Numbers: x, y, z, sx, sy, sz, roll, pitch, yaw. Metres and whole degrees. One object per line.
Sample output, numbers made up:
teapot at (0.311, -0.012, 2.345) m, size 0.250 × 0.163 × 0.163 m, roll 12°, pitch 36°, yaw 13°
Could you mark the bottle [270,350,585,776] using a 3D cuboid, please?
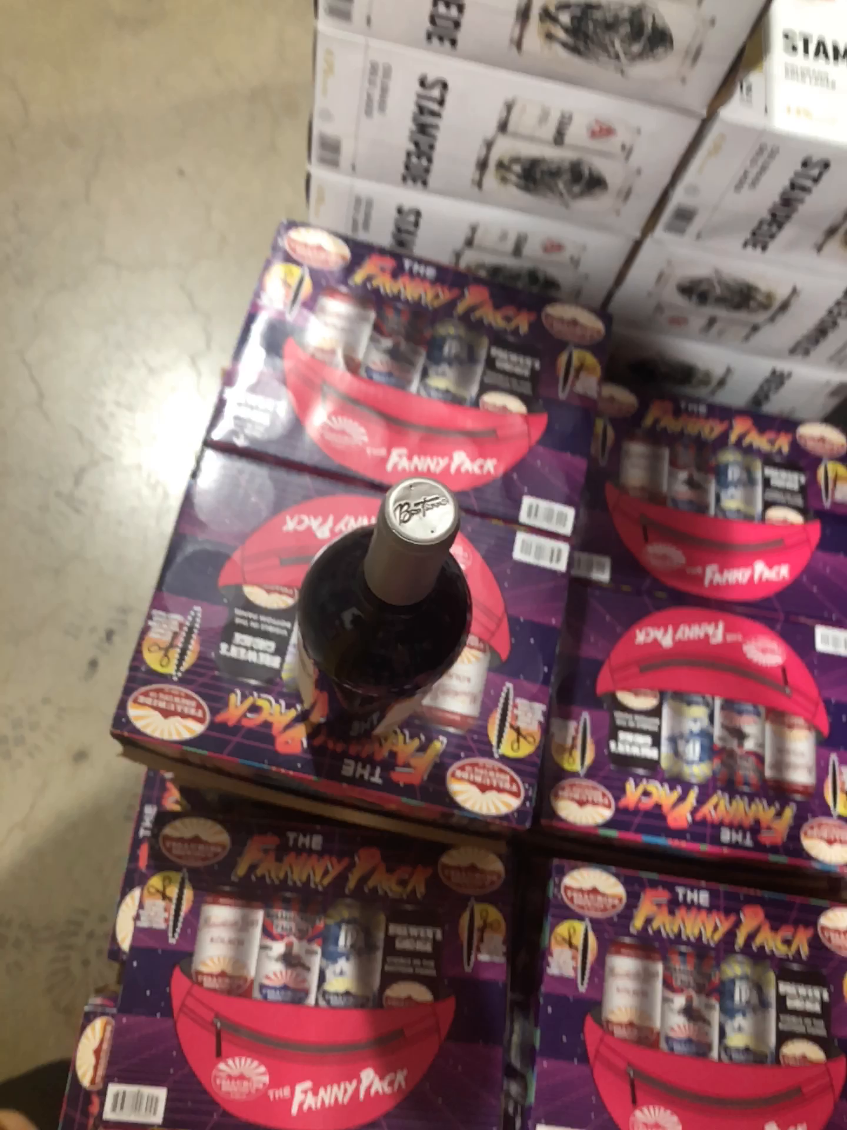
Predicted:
bottle at (-0.016, 0.027, 0.456) m, size 0.080 × 0.300 × 0.080 m, roll 3°, pitch 69°, yaw -7°
